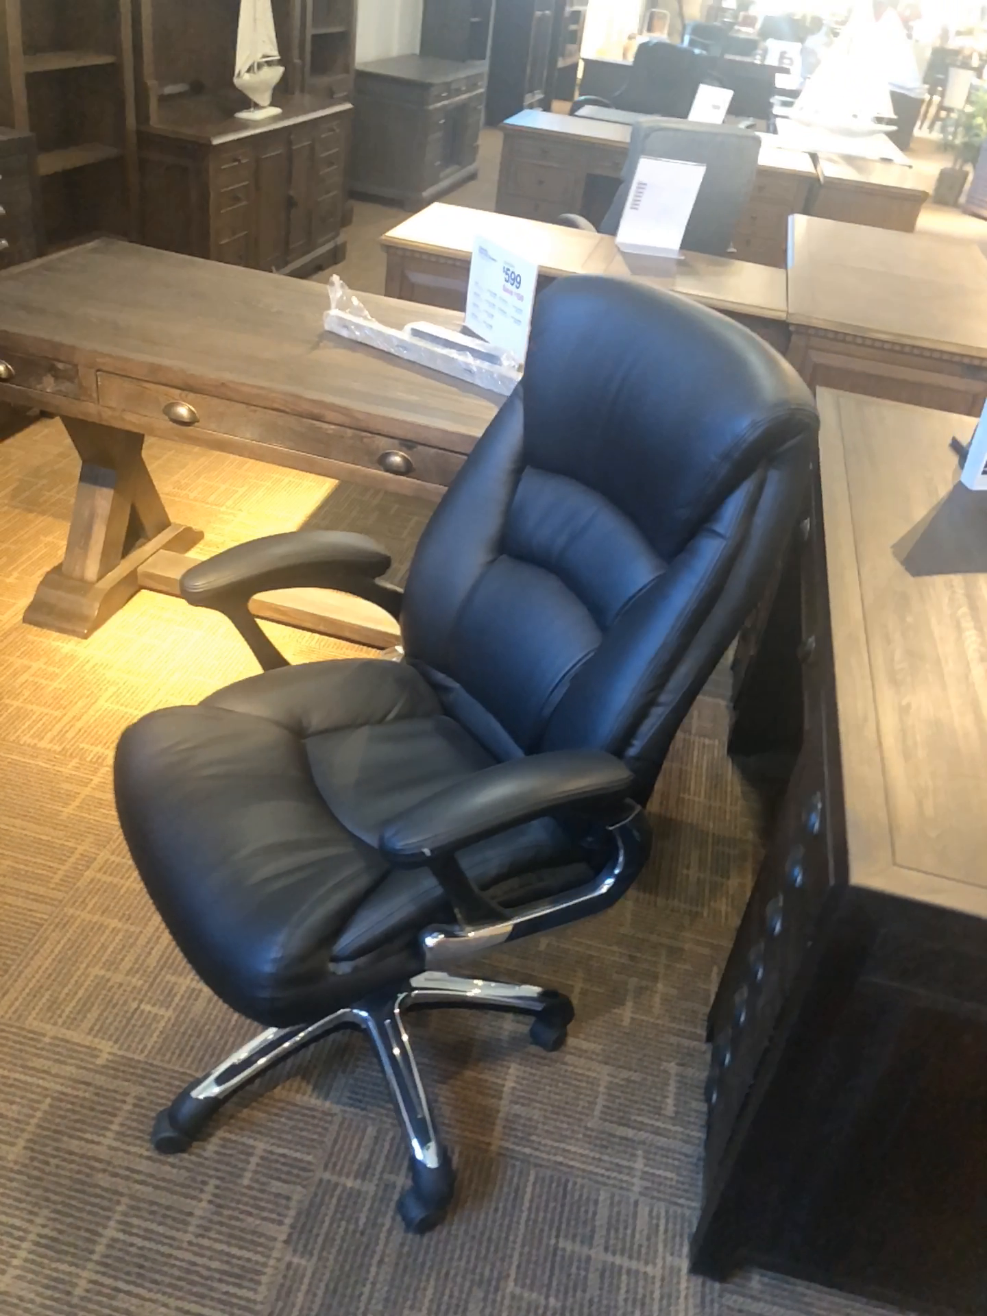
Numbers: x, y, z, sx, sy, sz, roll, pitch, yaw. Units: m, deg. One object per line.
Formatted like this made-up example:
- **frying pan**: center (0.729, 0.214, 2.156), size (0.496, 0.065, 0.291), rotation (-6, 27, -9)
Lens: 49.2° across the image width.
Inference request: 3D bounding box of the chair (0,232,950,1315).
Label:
- **chair**: center (-0.121, 0.114, 1.415), size (0.770, 1.118, 0.703), rotation (-14, 38, -31)
